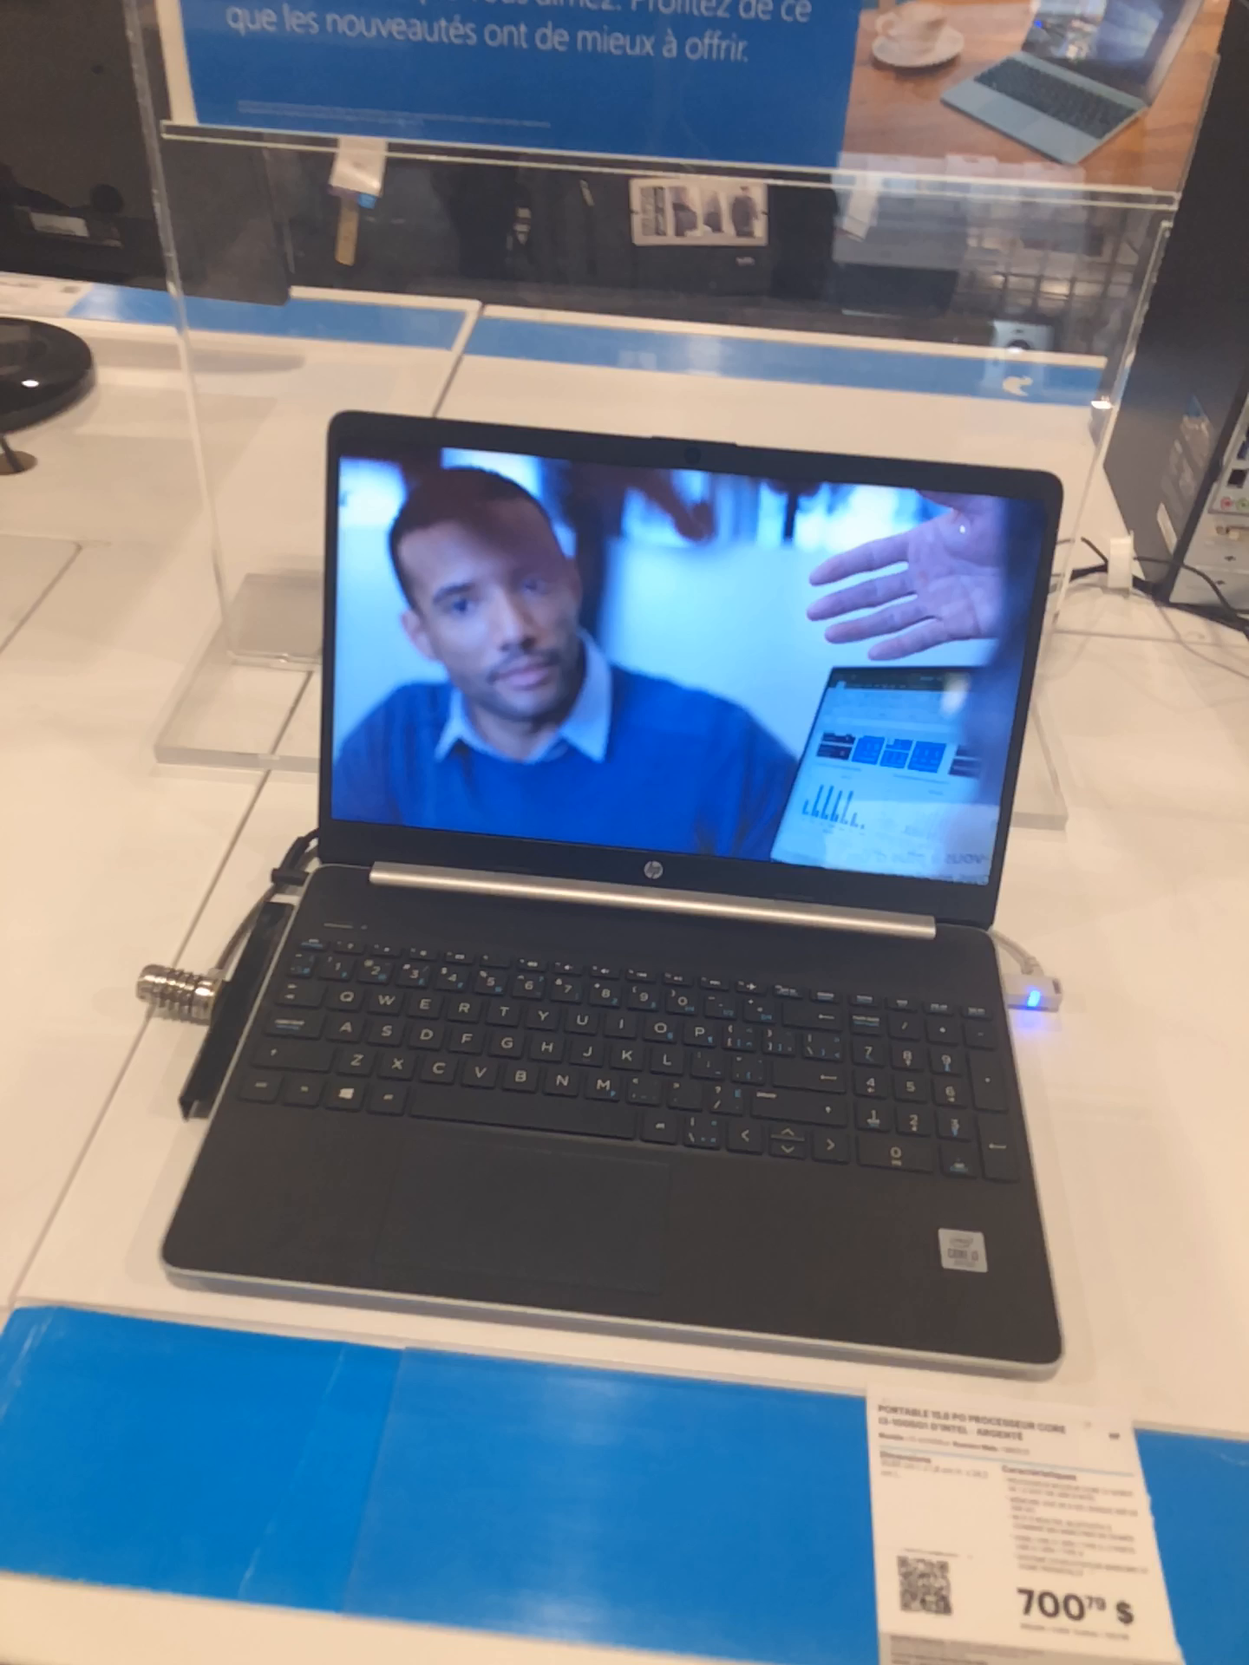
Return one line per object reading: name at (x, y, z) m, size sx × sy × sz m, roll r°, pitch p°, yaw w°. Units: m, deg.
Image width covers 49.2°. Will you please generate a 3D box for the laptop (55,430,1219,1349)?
laptop at (0.014, 0.002, 0.595) m, size 0.346 × 0.196 × 0.335 m, roll 6°, pitch 40°, yaw 2°
